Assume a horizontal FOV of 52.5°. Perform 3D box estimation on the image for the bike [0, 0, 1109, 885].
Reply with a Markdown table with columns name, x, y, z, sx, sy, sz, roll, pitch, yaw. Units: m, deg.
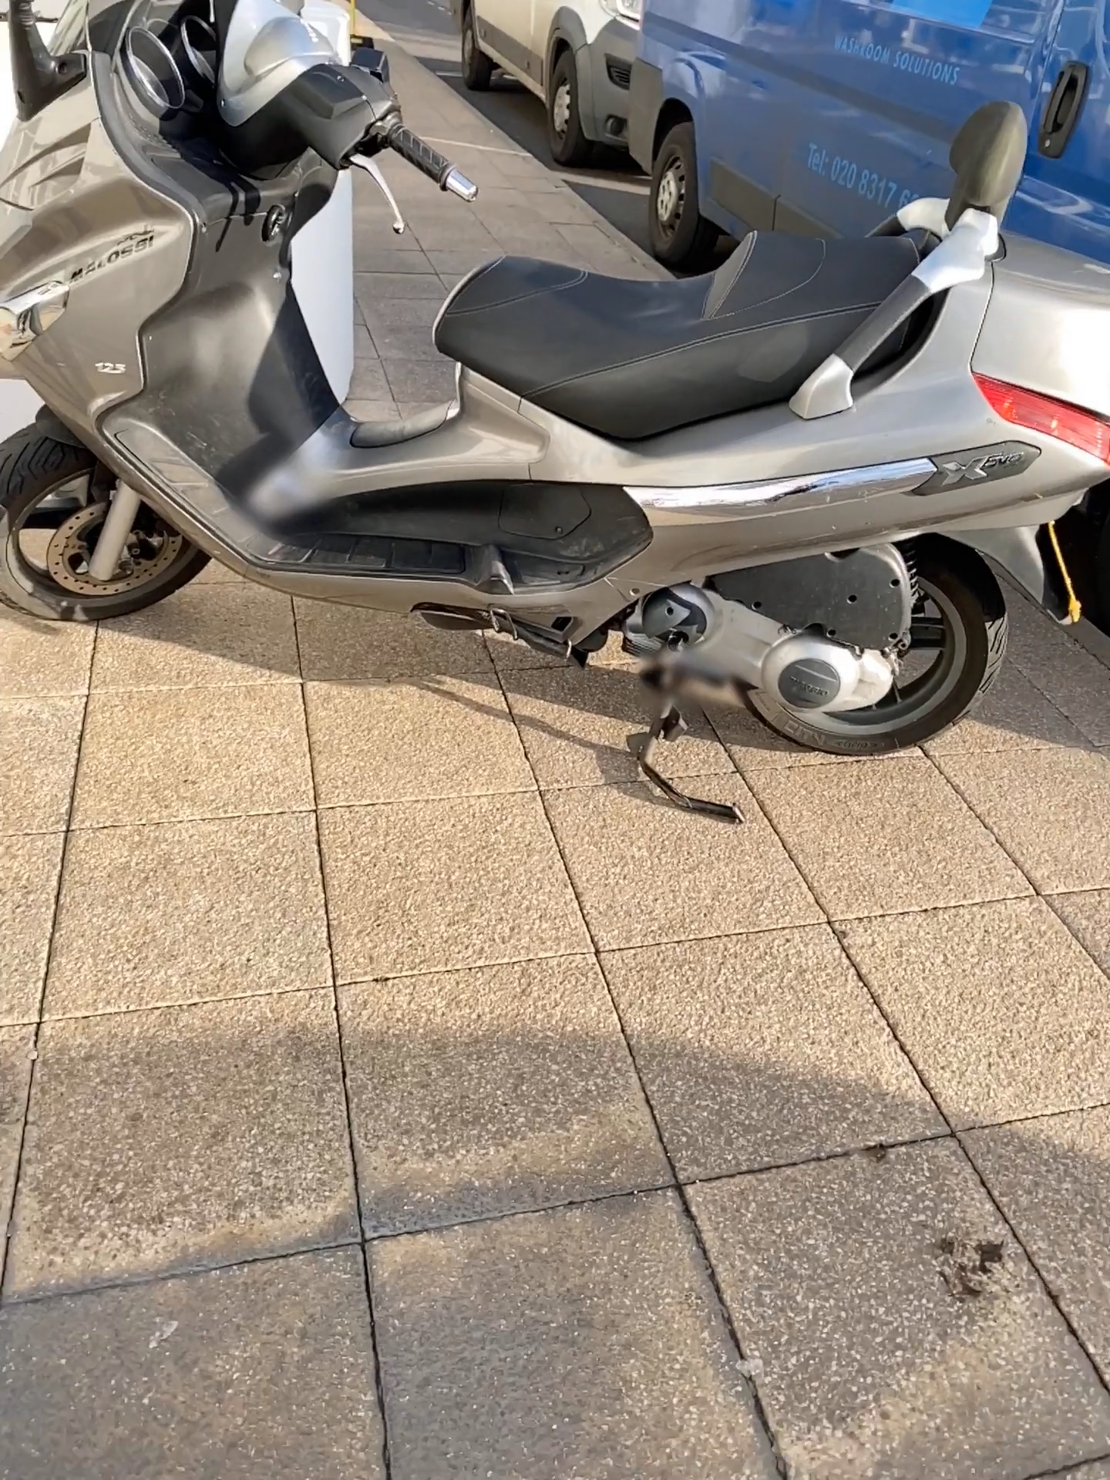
| name | x | y | z | sx | sy | sz | roll | pitch | yaw |
| --- | --- | --- | --- | --- | --- | --- | --- | --- | --- |
| bike | -0.086 | -0.494 | 1.653 | 1.653 | 1.061 | 0.658 | 7 | 36 | 2 |
